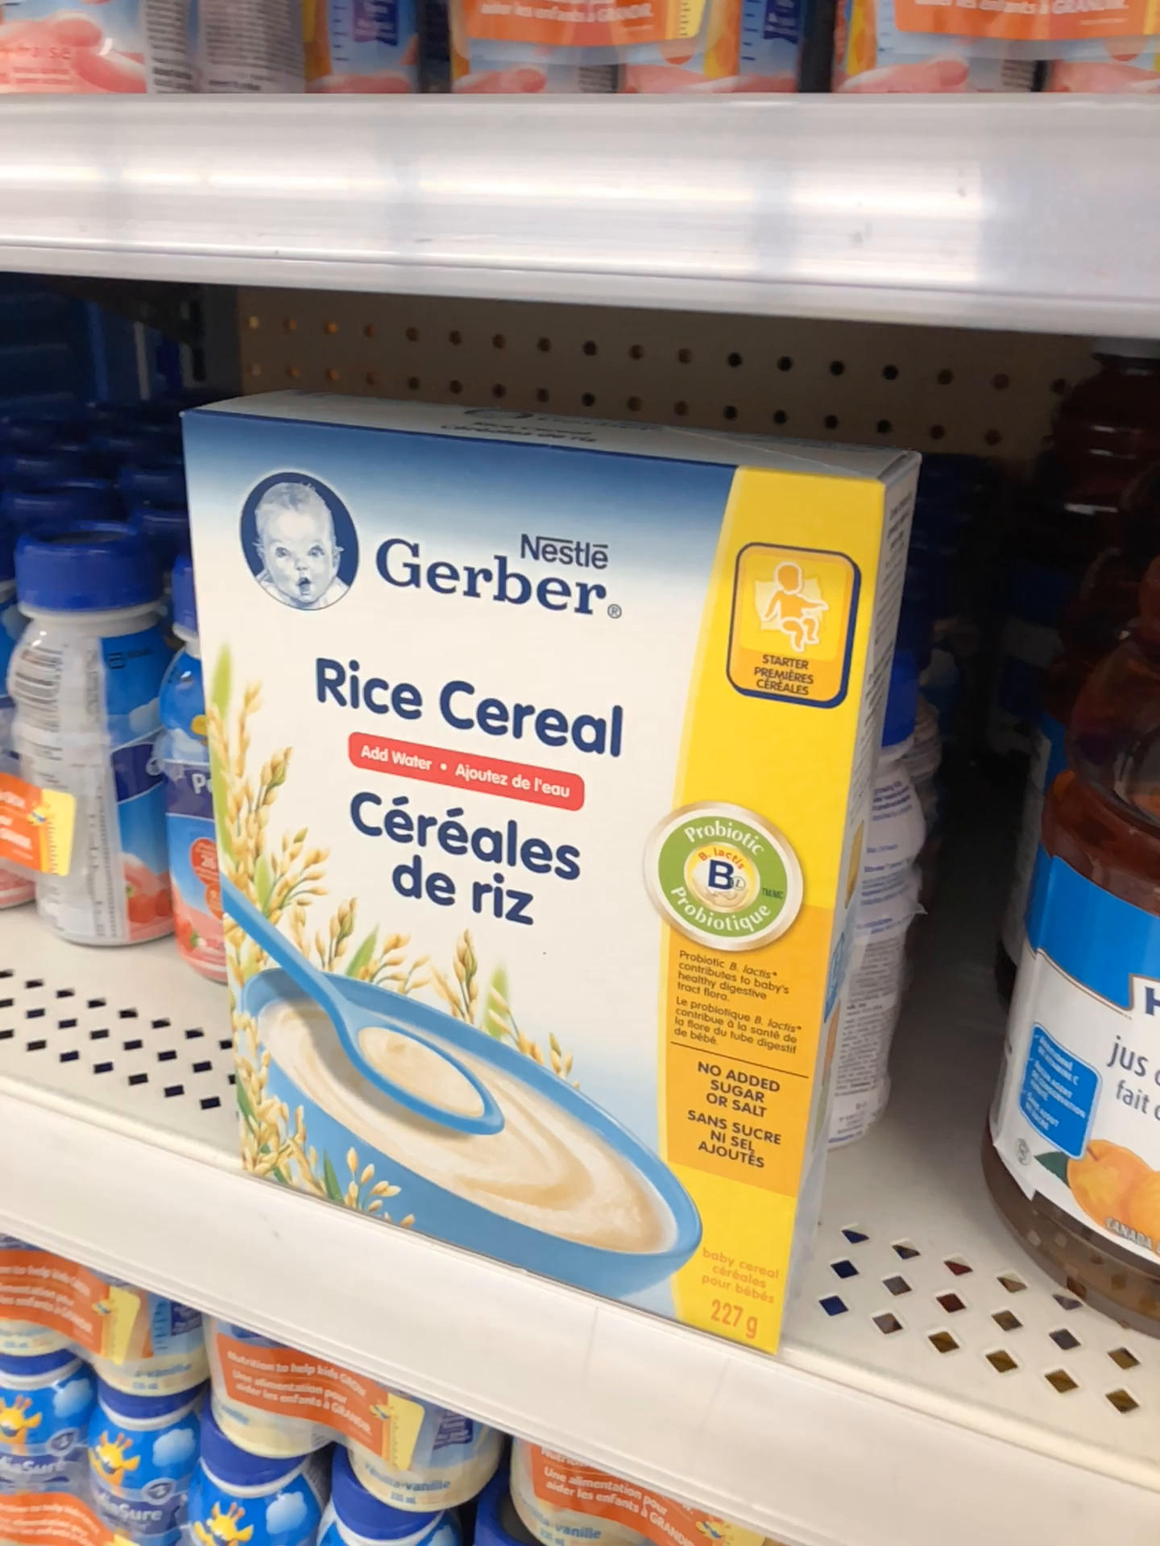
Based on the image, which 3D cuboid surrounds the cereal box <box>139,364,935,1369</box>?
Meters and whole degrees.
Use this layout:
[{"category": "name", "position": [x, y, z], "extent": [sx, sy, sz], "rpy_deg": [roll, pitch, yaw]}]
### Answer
[{"category": "cereal box", "position": [-0.013, 0.017, 0.300], "extent": [0.150, 0.199, 0.060], "rpy_deg": [11, 25, 19]}]
